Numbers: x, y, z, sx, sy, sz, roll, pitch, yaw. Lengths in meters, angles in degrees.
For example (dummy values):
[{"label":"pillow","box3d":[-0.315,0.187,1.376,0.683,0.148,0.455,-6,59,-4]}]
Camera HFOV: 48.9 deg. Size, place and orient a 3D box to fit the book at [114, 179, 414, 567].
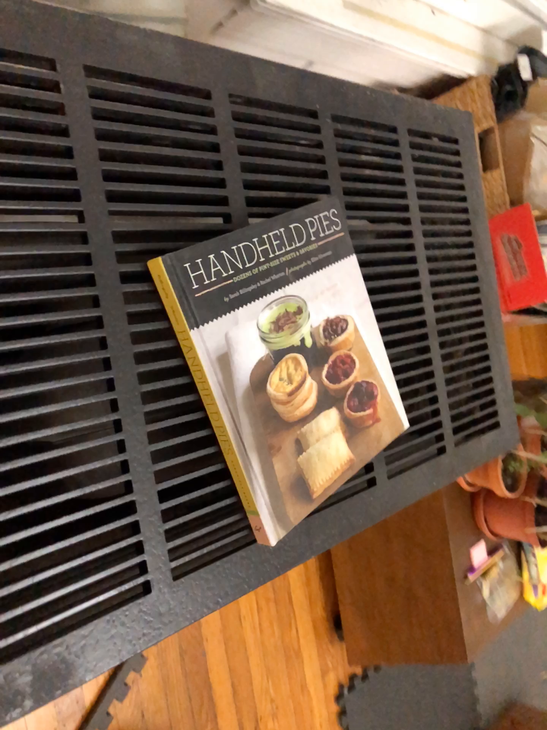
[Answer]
[{"label":"book","box3d":[0.013,-0.006,0.458,0.201,0.020,0.230,-30,105,-39]}]
